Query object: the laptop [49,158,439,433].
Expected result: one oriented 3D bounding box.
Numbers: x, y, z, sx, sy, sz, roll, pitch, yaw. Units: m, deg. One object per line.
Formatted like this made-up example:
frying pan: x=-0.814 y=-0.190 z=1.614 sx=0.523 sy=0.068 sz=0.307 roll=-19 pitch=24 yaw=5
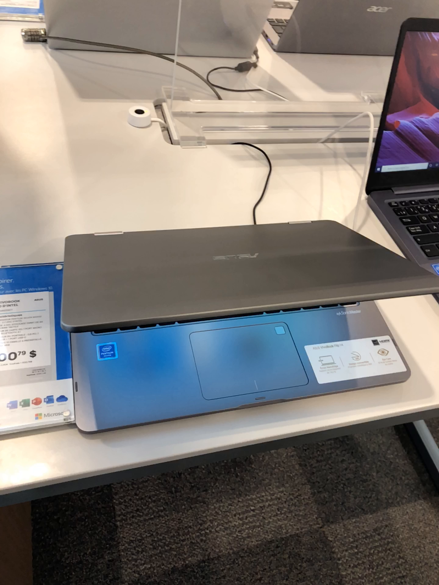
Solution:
laptop: x=0.015 y=-0.015 z=0.460 sx=0.322 sy=0.105 sz=0.215 roll=-5 pitch=52 yaw=-15
